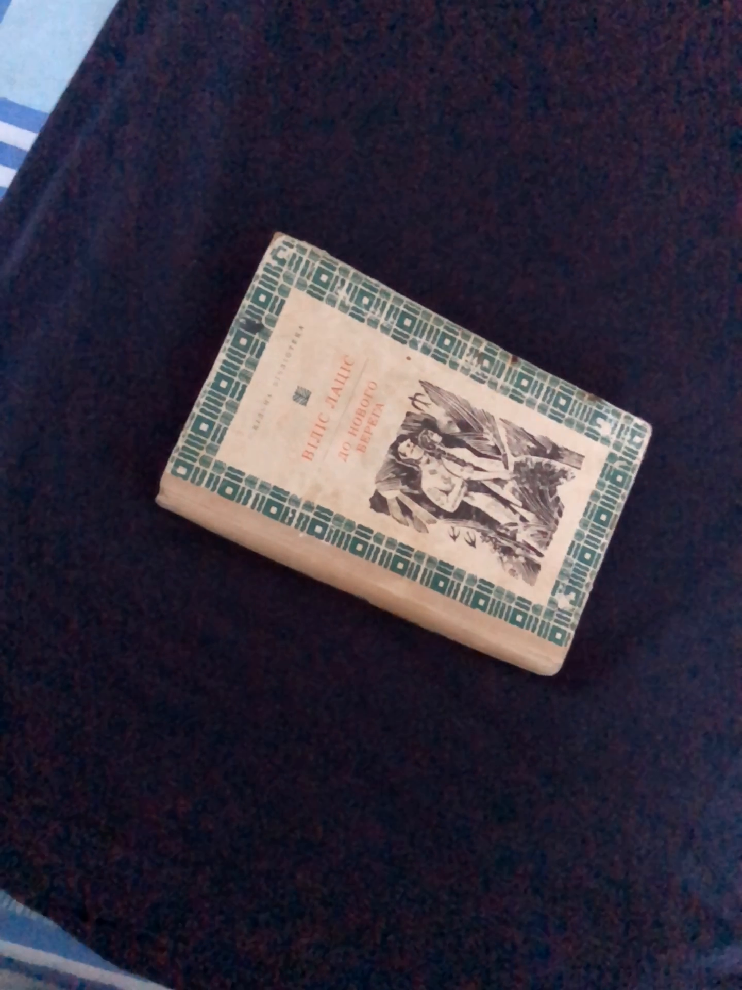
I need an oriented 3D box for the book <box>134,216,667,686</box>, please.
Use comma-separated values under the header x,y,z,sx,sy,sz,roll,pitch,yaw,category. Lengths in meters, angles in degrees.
x,y,z,sx,sy,sz,roll,pitch,yaw,category
0.016,-0.016,0.377,0.201,0.040,0.134,24,84,-10,book
